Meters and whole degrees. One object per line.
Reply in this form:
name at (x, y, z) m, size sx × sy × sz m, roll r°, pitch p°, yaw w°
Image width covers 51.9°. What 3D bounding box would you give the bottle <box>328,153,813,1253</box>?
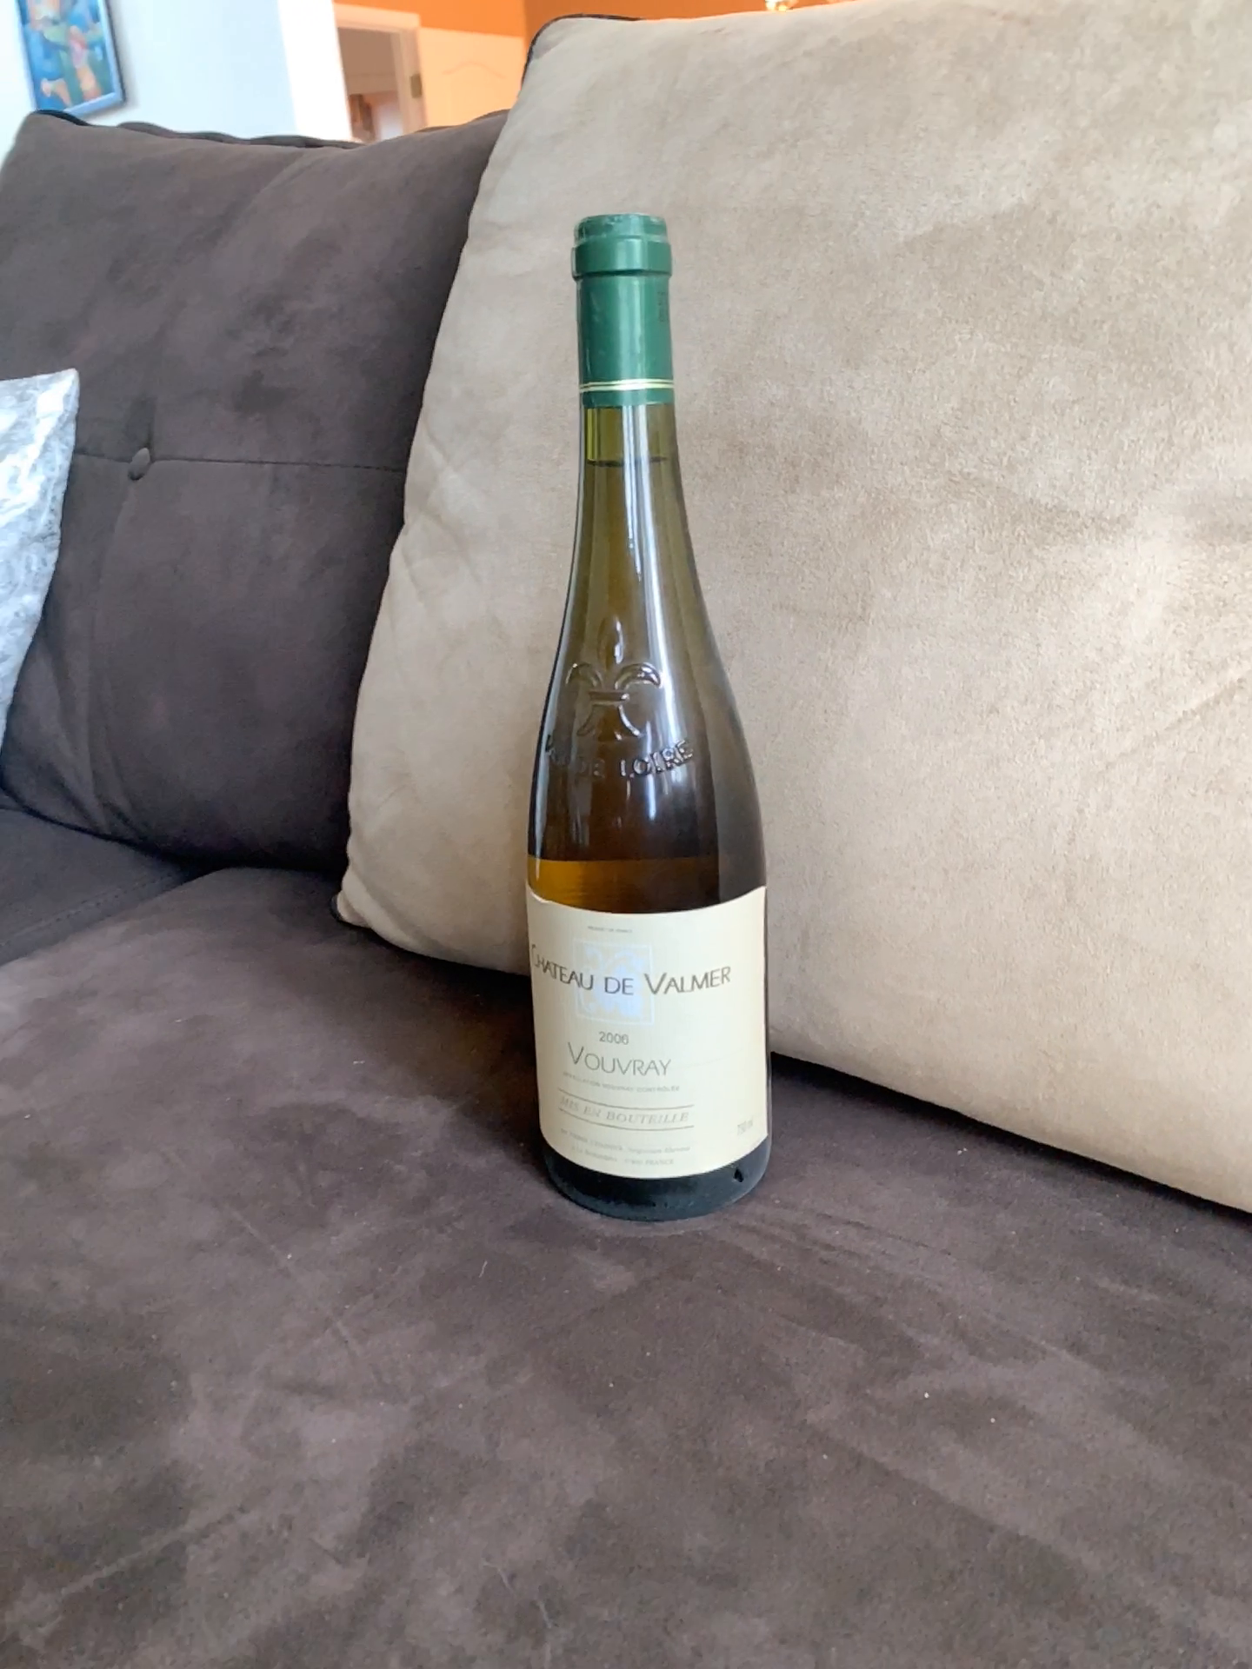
bottle at (-0.002, -0.031, 0.404) m, size 0.100 × 0.309 × 0.090 m, roll 2°, pitch 22°, yaw 18°
